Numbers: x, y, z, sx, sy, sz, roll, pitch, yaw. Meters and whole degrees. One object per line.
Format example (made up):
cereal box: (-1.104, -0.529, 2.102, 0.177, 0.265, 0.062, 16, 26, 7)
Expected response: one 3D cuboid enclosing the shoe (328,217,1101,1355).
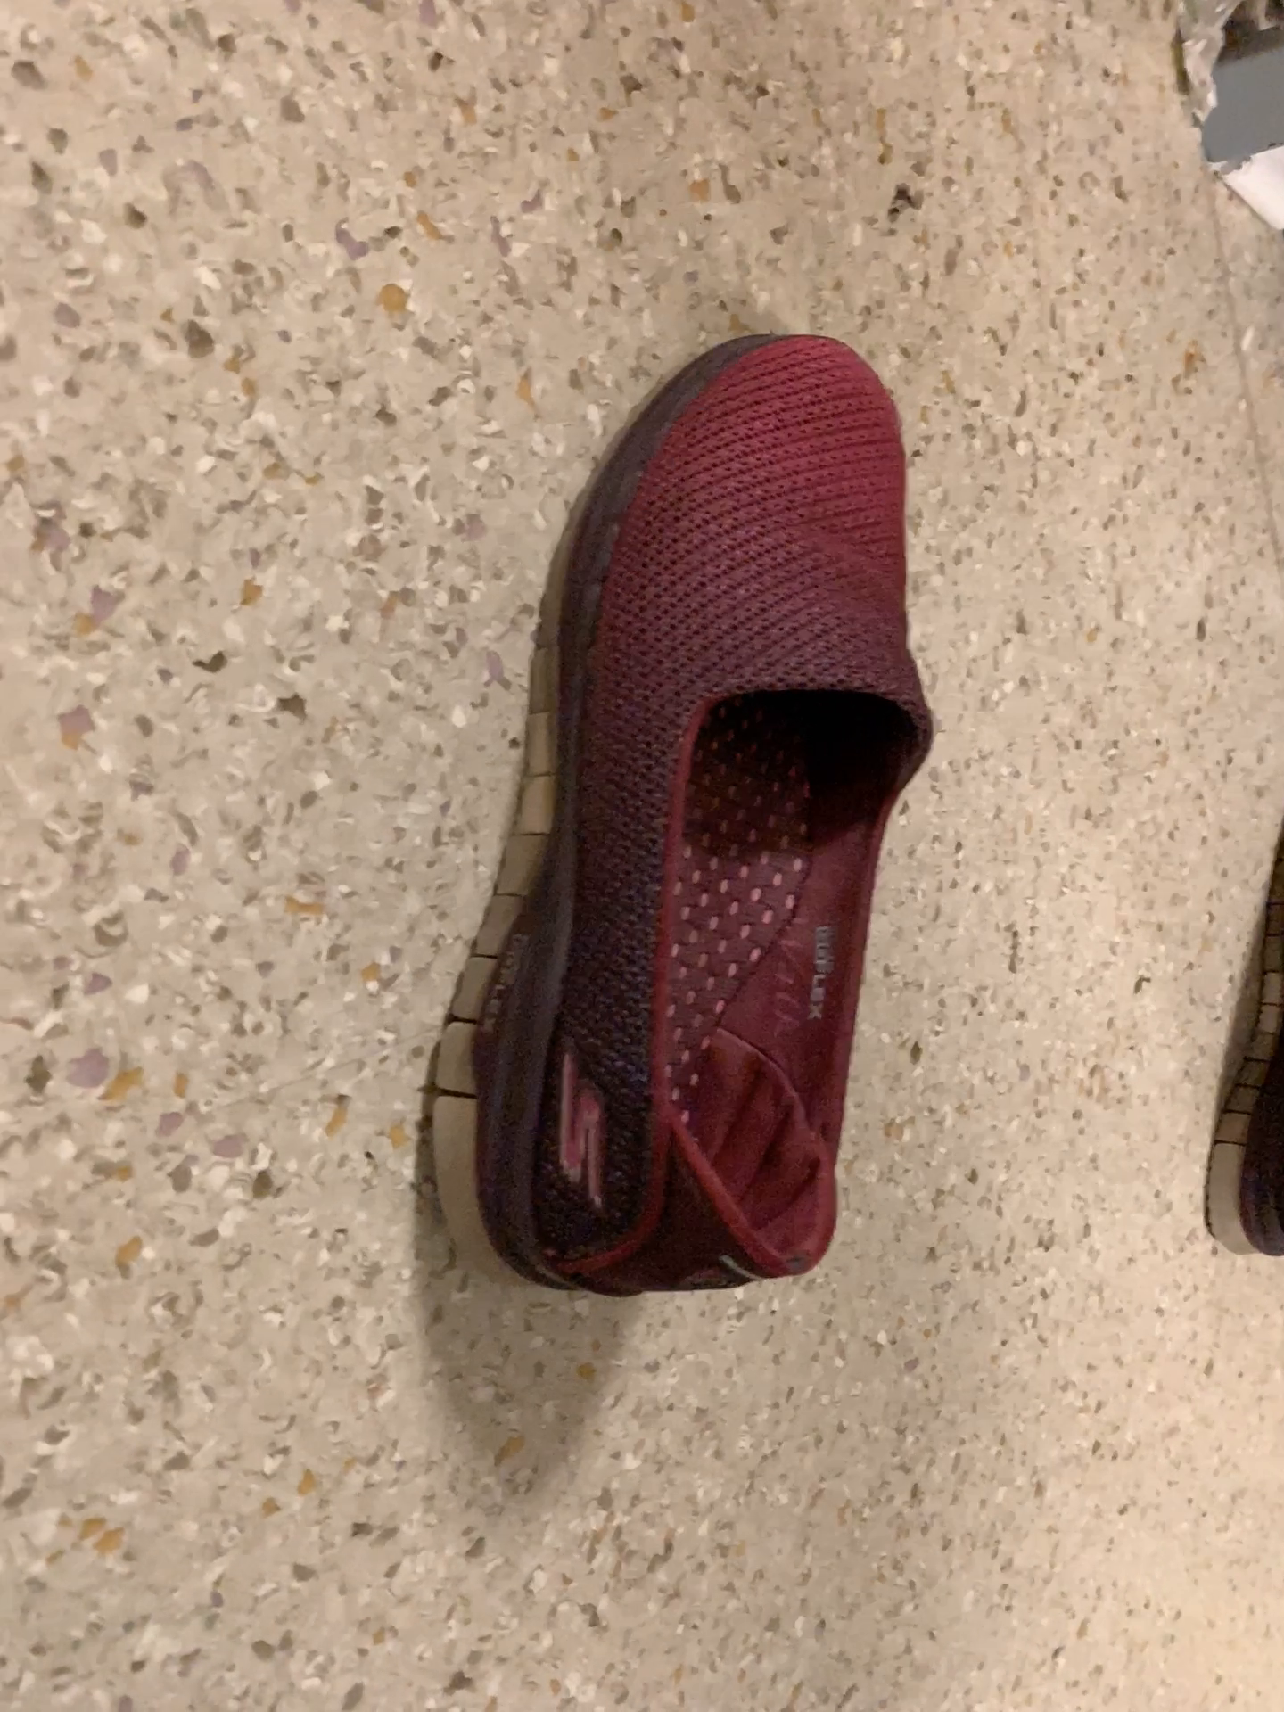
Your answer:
shoe: (0.023, -0.014, 0.318, 0.092, 0.091, 0.229, 27, 75, -42)
